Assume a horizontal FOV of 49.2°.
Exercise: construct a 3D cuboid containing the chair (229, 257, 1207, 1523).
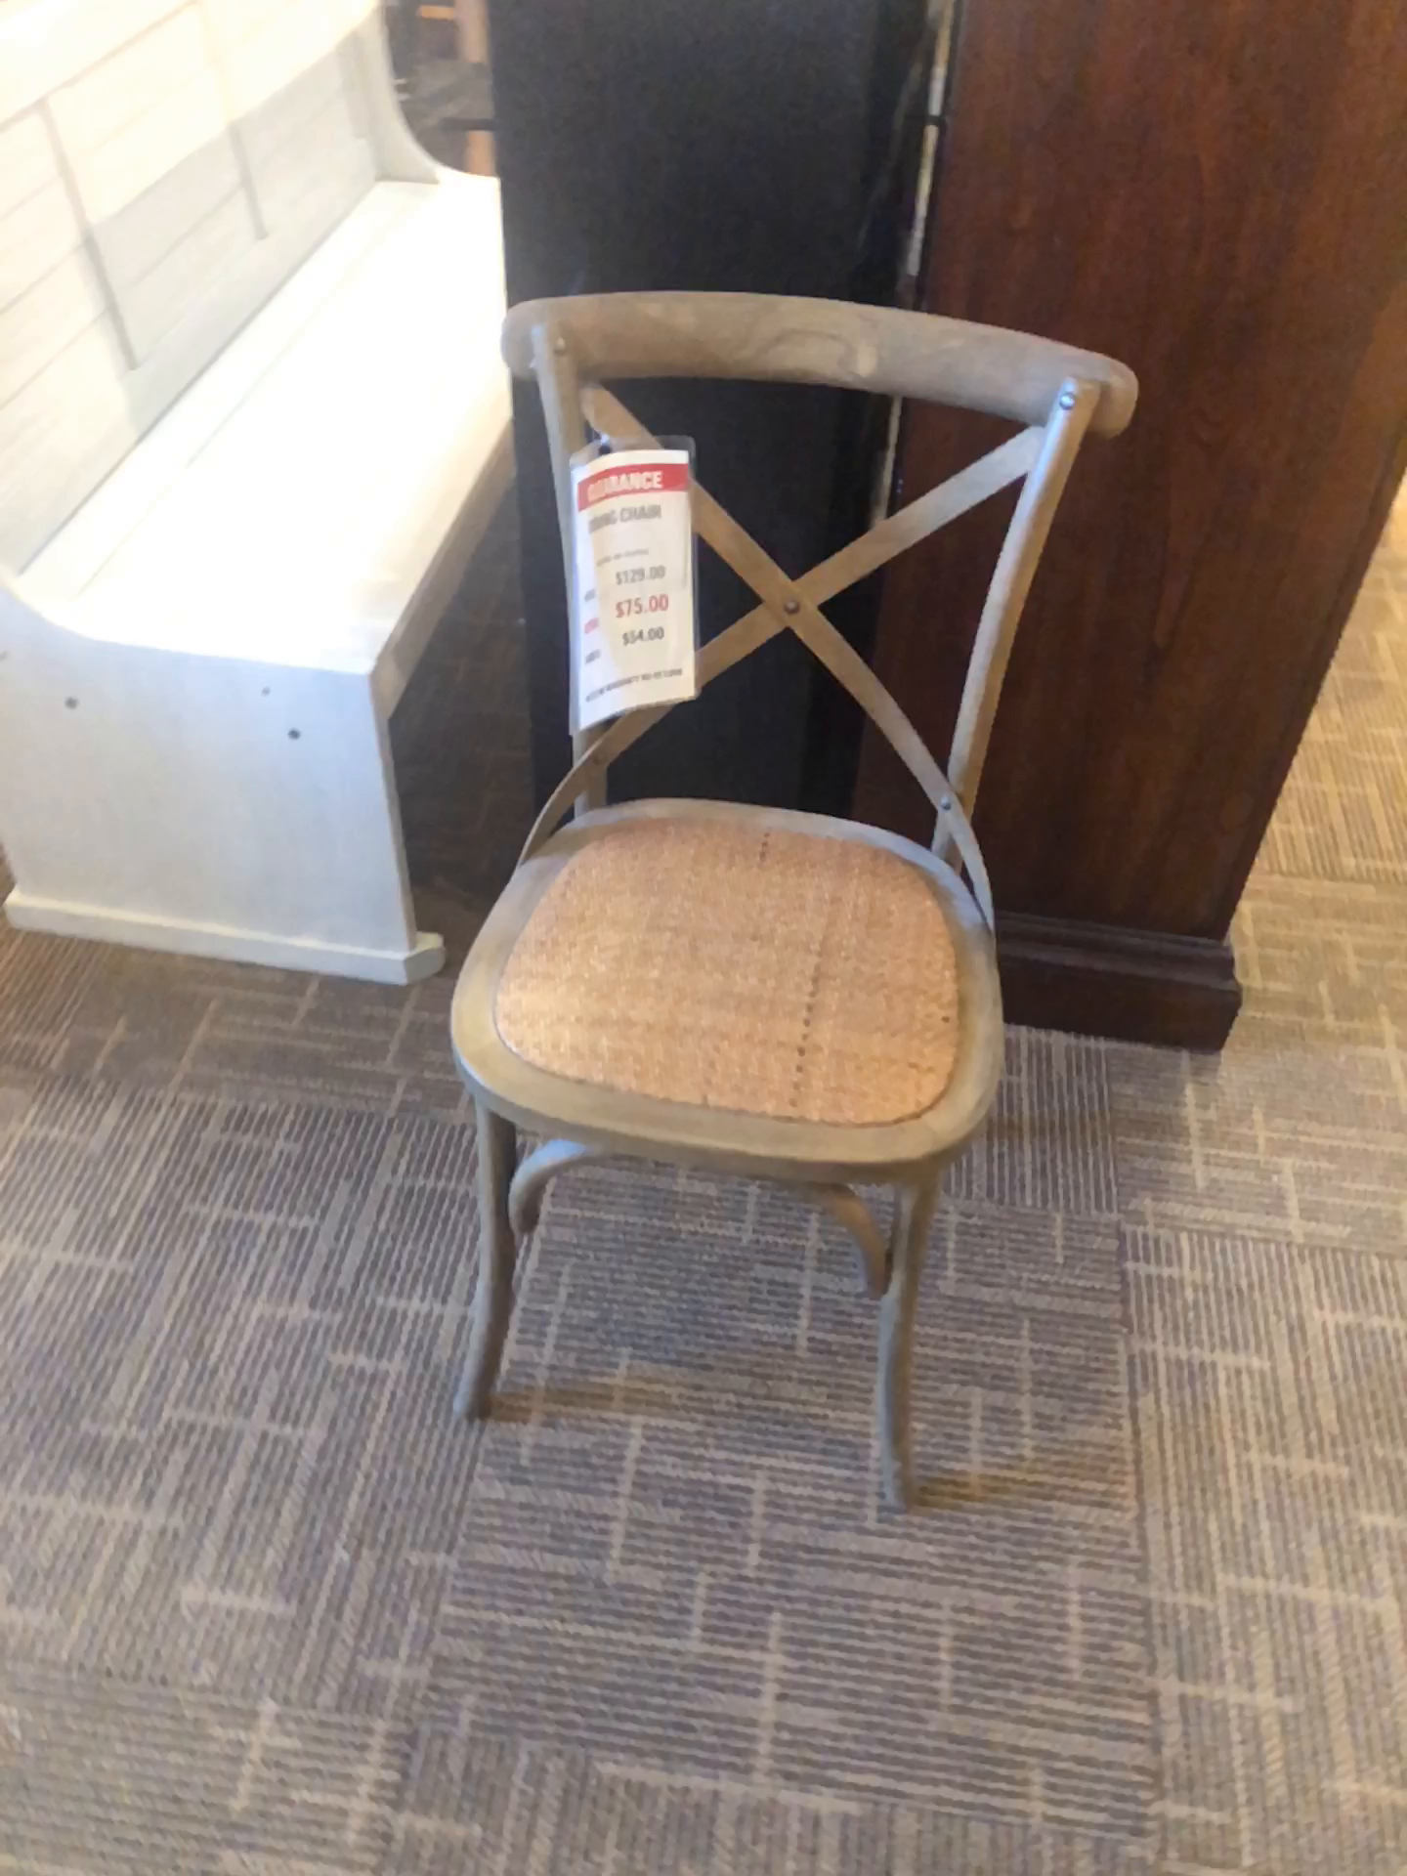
[{"bbox_3d":[0.039,-0.017,1.278,0.515,0.814,0.568,9,45,7],"label":"chair"}]
